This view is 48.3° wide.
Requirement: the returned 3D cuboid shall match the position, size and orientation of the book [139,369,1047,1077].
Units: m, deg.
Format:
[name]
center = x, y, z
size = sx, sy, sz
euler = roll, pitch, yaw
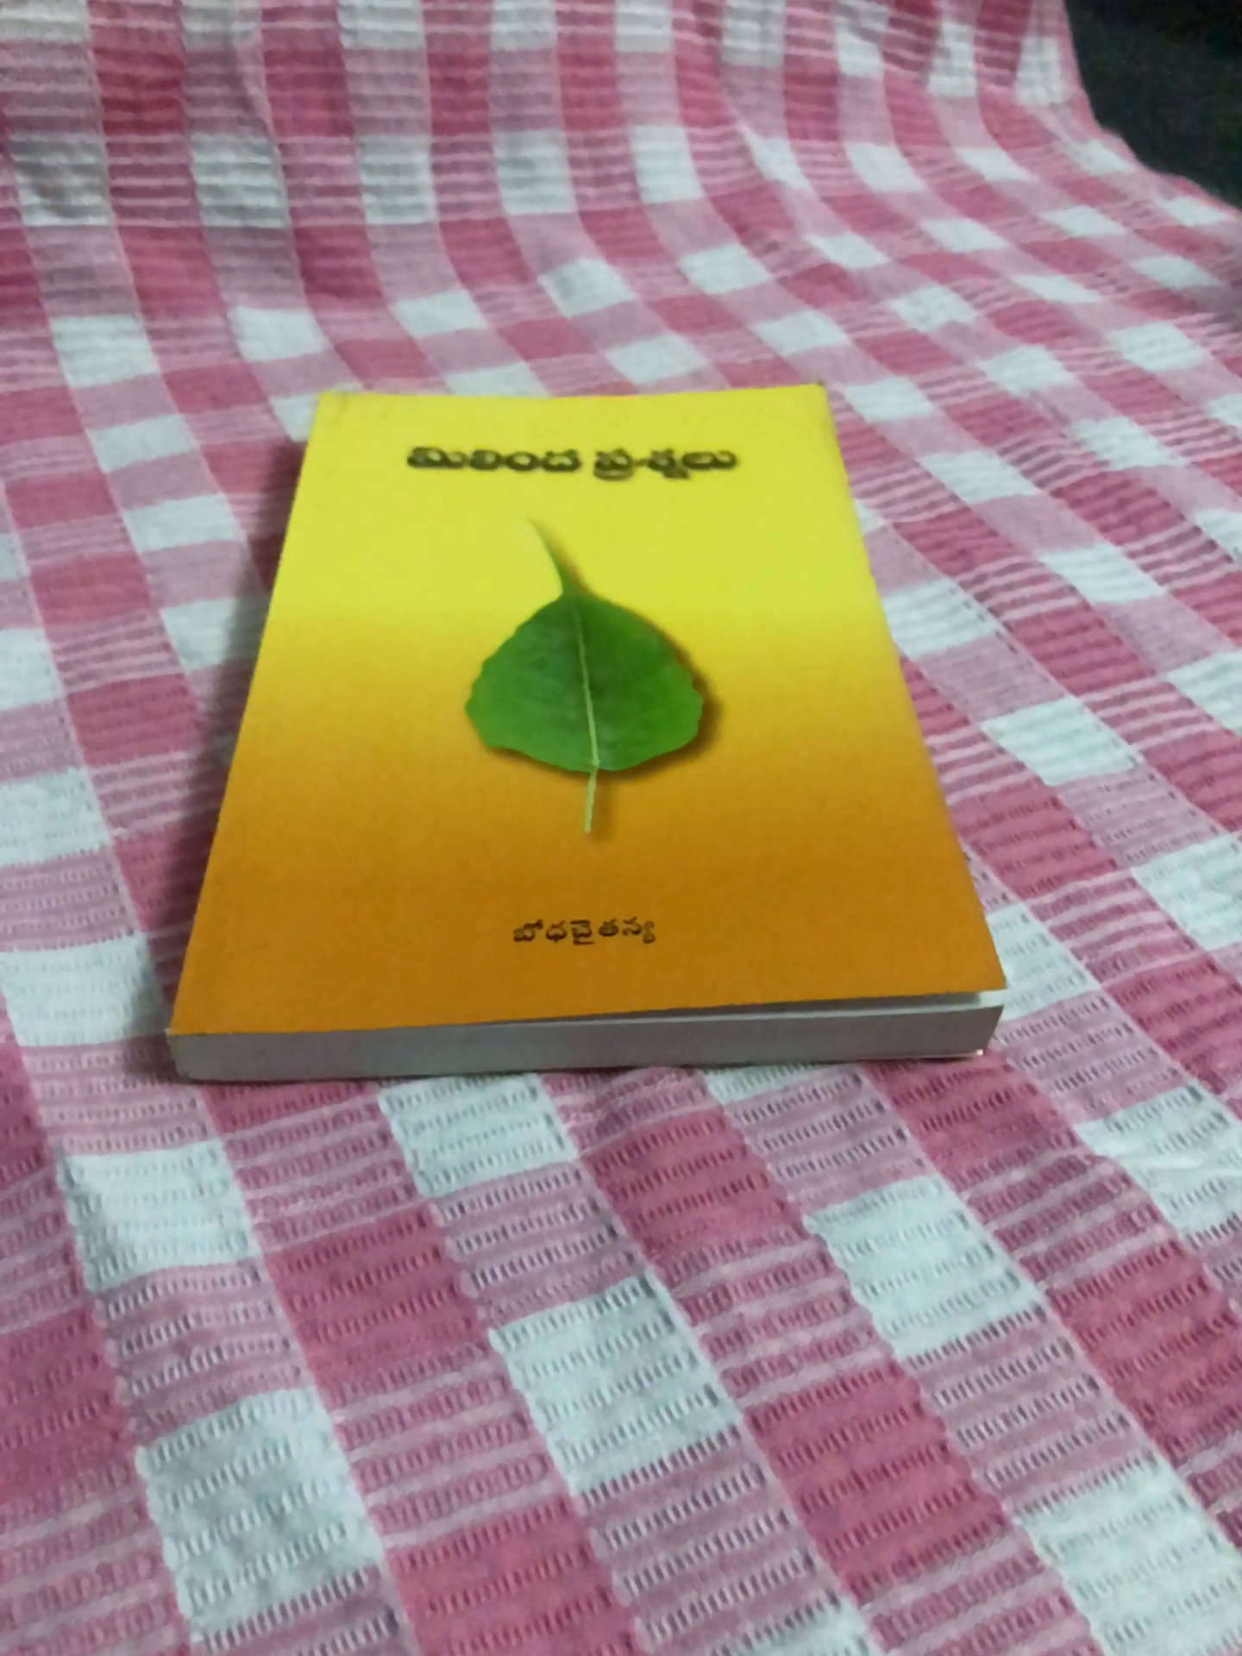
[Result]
[book]
center = -0.008, -0.043, 0.314
size = 0.150, 0.020, 0.221
euler = 0, 45, -3
